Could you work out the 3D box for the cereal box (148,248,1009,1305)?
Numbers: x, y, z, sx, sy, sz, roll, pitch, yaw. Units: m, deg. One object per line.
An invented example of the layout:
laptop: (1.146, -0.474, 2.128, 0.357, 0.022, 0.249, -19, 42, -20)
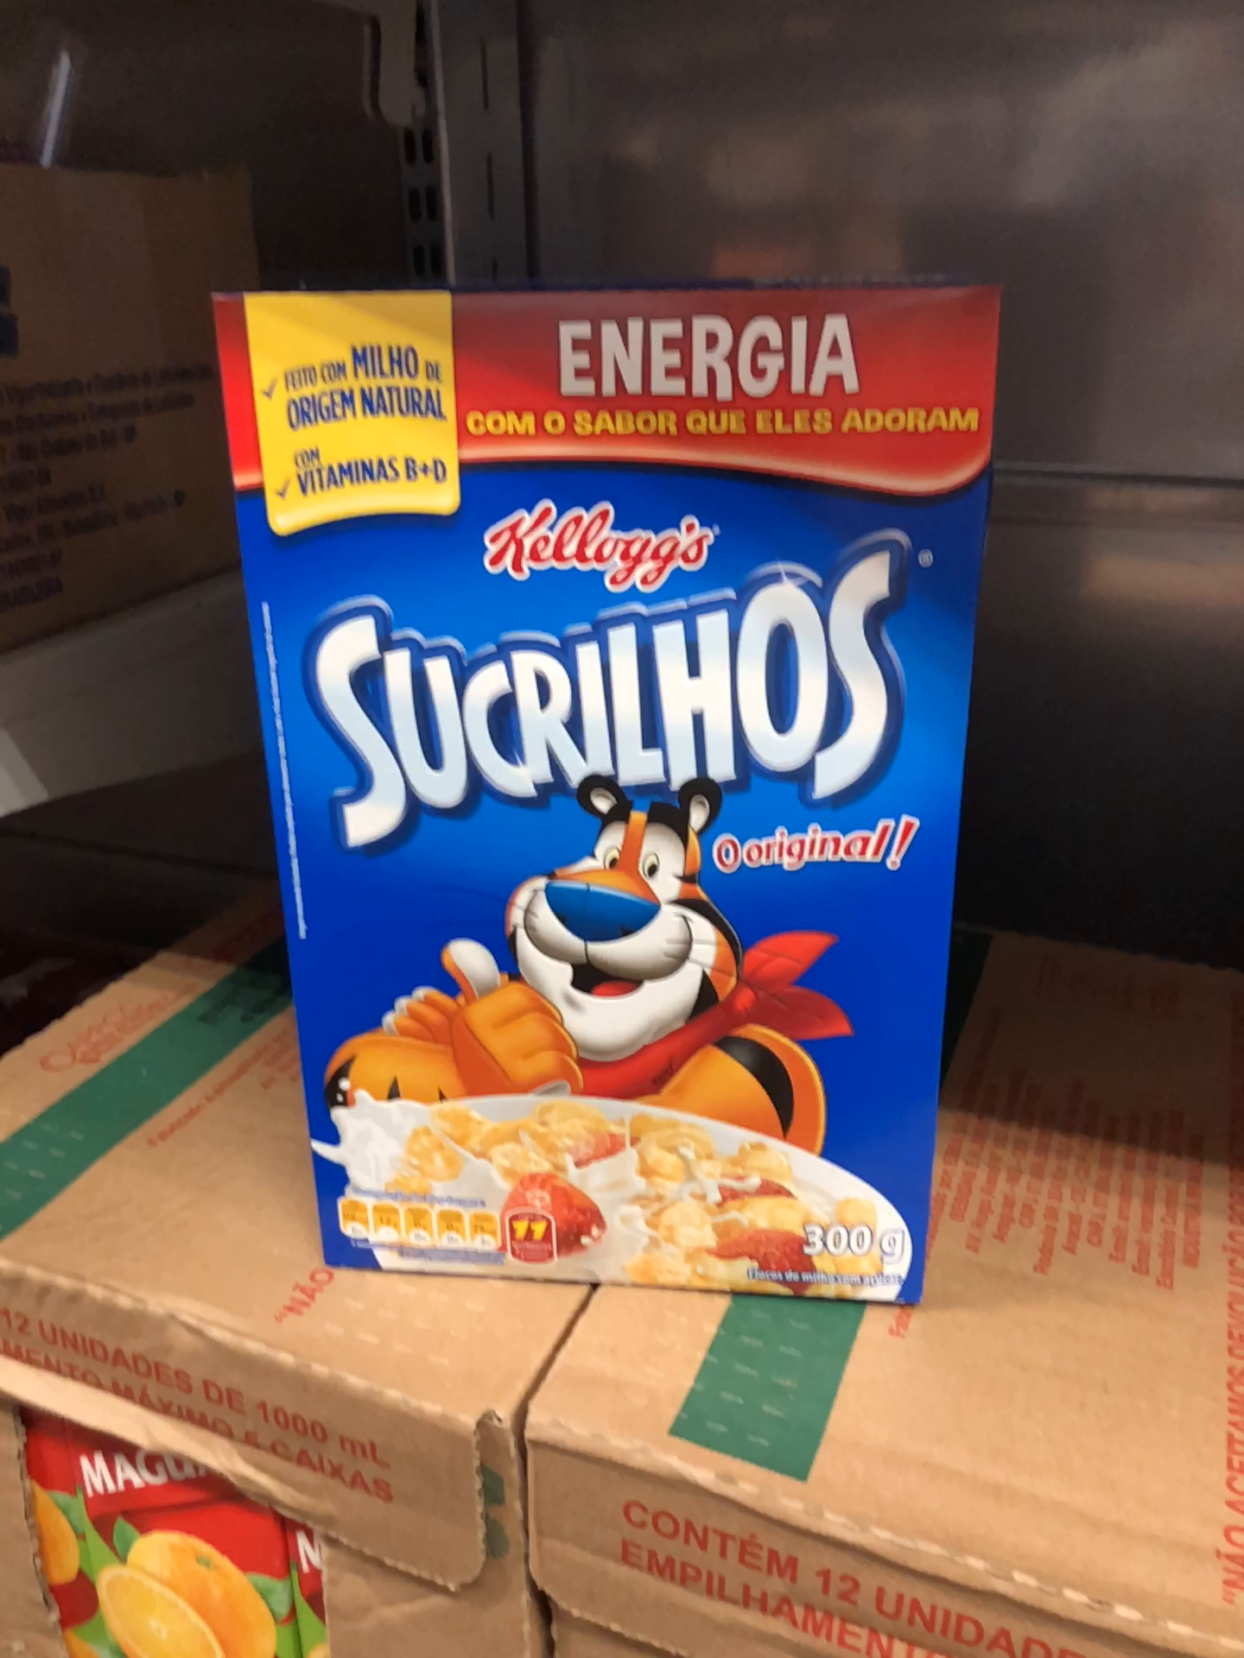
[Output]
cereal box: (-0.004, -0.007, 0.344, 0.170, 0.248, 0.060, 2, 23, 8)
